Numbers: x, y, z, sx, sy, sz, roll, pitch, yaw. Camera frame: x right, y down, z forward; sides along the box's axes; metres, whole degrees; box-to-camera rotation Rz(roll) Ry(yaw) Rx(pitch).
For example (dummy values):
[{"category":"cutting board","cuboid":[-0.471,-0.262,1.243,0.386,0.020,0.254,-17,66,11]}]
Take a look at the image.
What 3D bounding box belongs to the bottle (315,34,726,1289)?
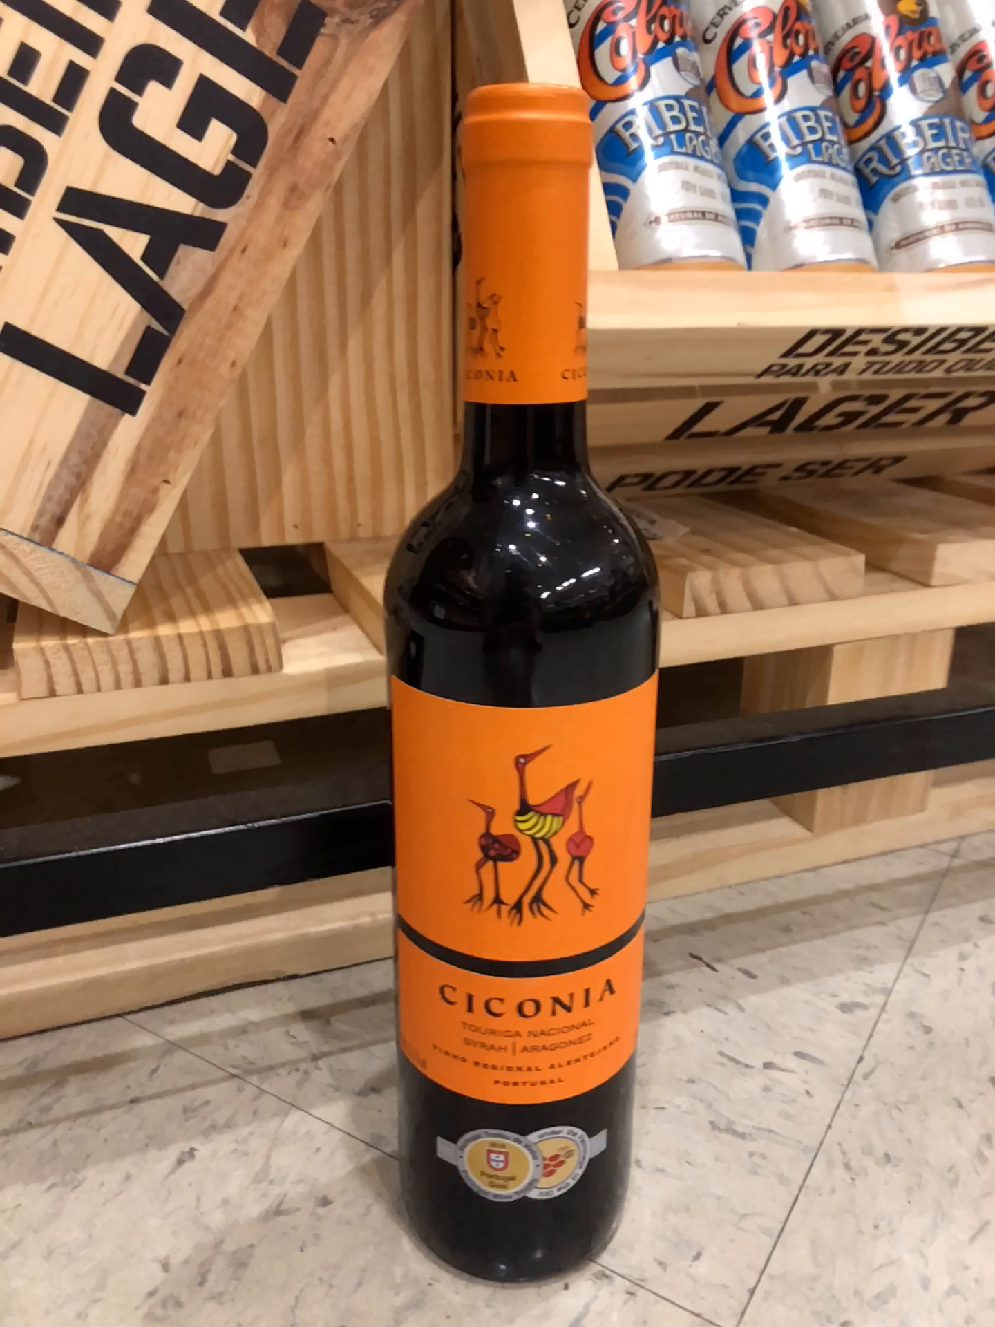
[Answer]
[{"category":"bottle","cuboid":[0.001,0.017,0.300,0.080,0.318,0.070,-1,20,-5]}]
